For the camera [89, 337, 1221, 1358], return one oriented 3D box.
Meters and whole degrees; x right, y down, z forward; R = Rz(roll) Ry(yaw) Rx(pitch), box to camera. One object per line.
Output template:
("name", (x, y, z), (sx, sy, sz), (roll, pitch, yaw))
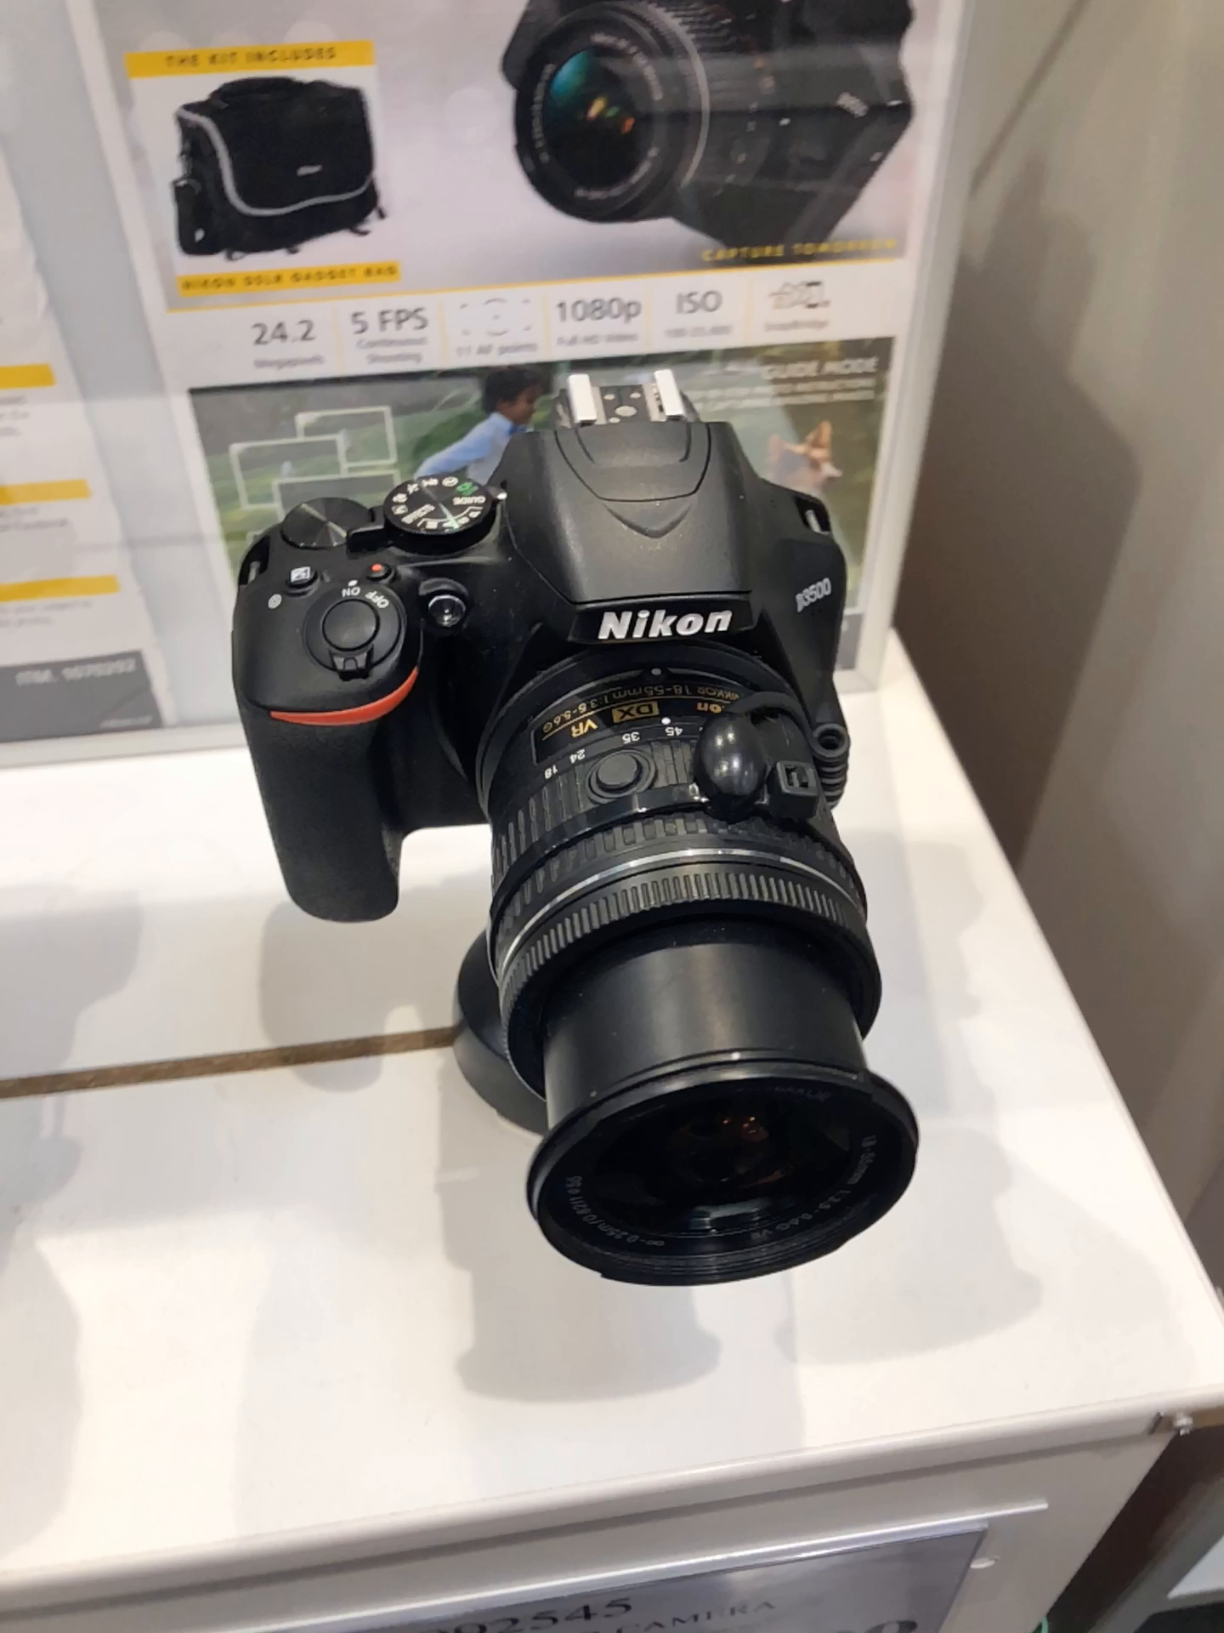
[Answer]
("camera", (-0.003, -0.004, 0.234), (0.130, 0.089, 0.141), (-6, 45, -7))
